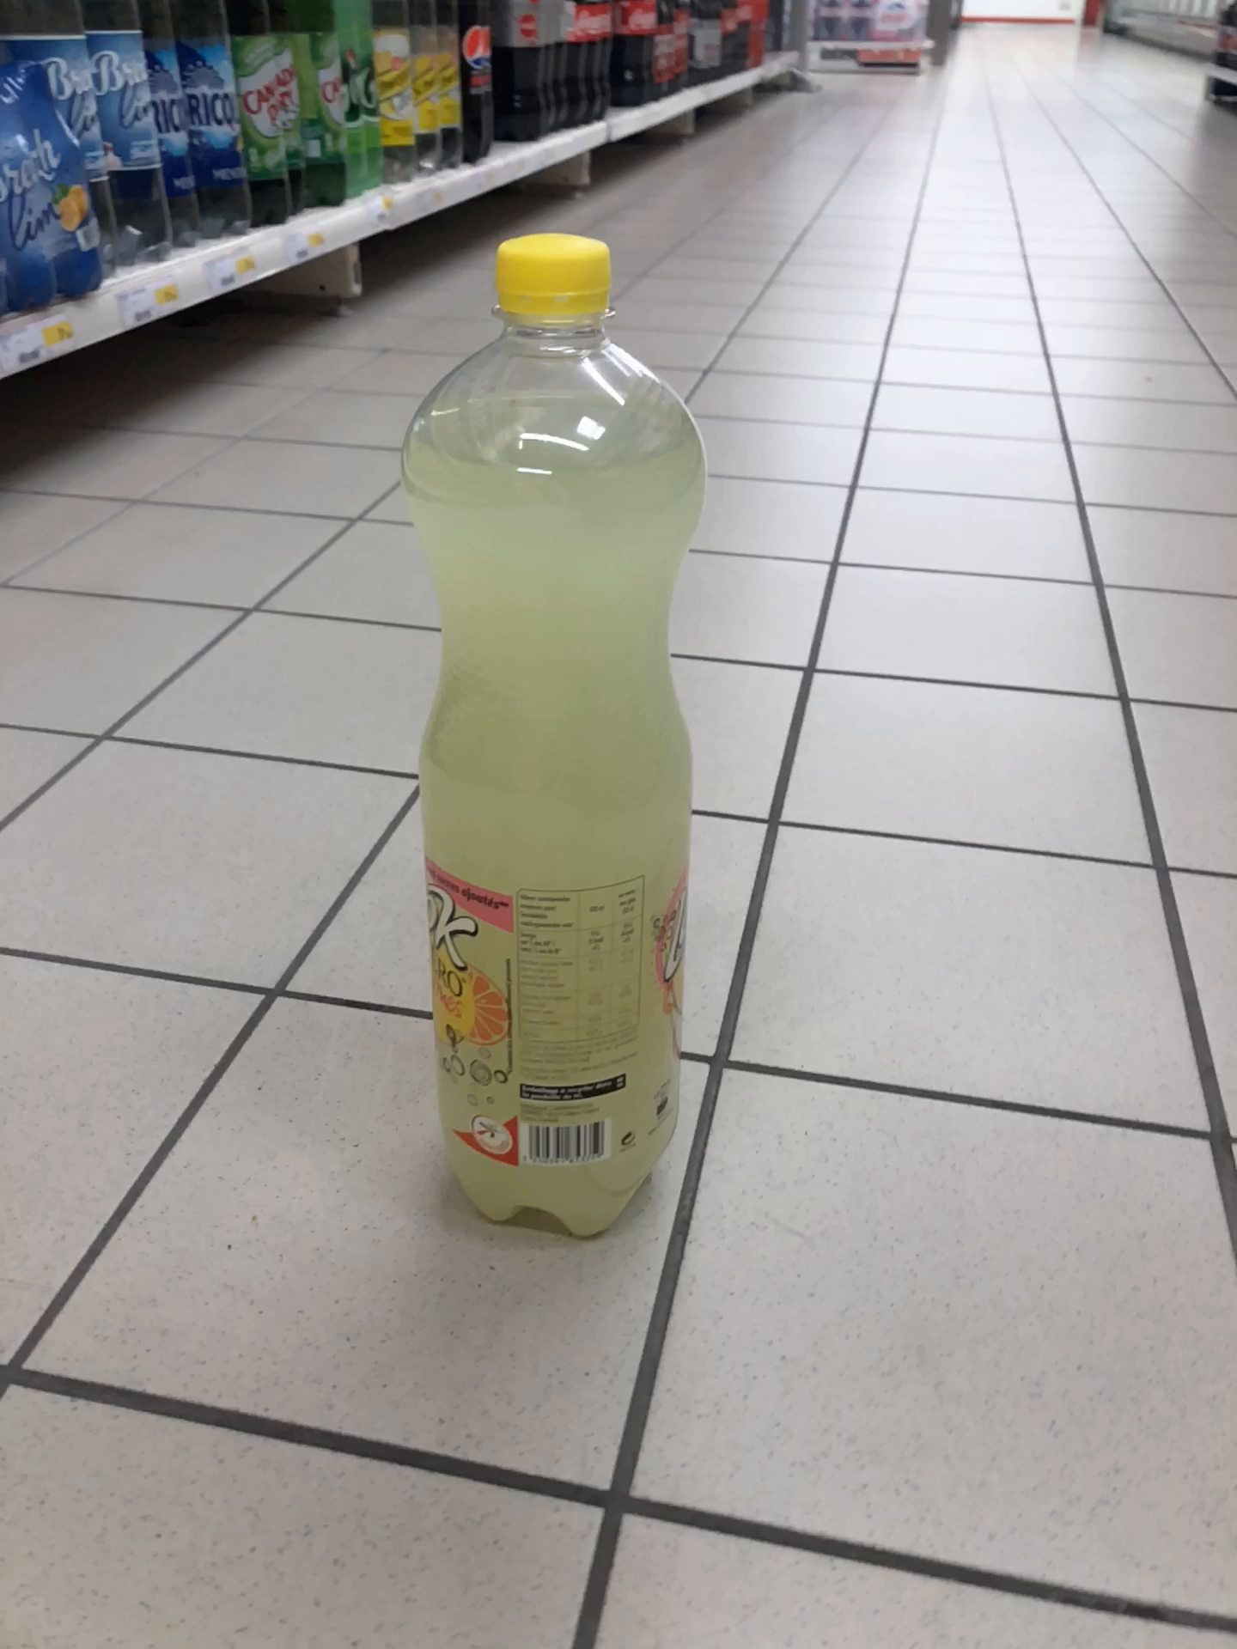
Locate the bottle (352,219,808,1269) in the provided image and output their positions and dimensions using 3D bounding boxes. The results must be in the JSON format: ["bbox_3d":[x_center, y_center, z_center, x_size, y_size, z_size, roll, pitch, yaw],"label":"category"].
[{"bbox_3d":[-0.019,-0.017,0.420,0.100,0.298,0.111,-4,30,-9],"label":"bottle"}]
